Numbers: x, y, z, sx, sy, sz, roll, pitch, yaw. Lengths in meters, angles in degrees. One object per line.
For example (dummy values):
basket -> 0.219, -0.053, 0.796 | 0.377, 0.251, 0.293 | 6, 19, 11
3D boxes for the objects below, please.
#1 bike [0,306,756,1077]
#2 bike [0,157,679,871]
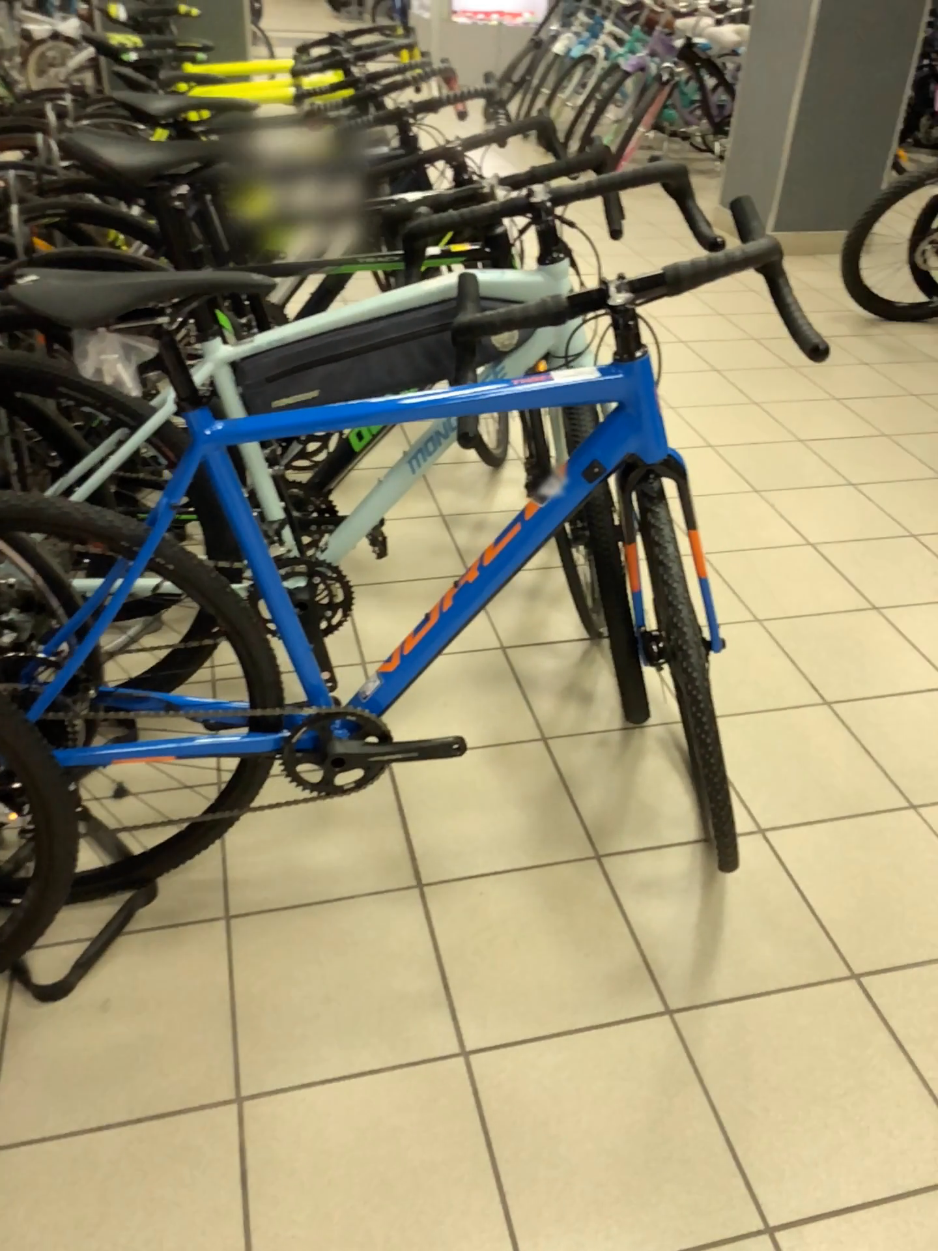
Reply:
bike -> -0.277, -0.008, 1.641 | 1.470, 0.806, 0.527 | -8, 35, -26
bike -> -0.370, -0.319, 1.846 | 1.423, 0.870, 0.619 | -12, 36, -24
